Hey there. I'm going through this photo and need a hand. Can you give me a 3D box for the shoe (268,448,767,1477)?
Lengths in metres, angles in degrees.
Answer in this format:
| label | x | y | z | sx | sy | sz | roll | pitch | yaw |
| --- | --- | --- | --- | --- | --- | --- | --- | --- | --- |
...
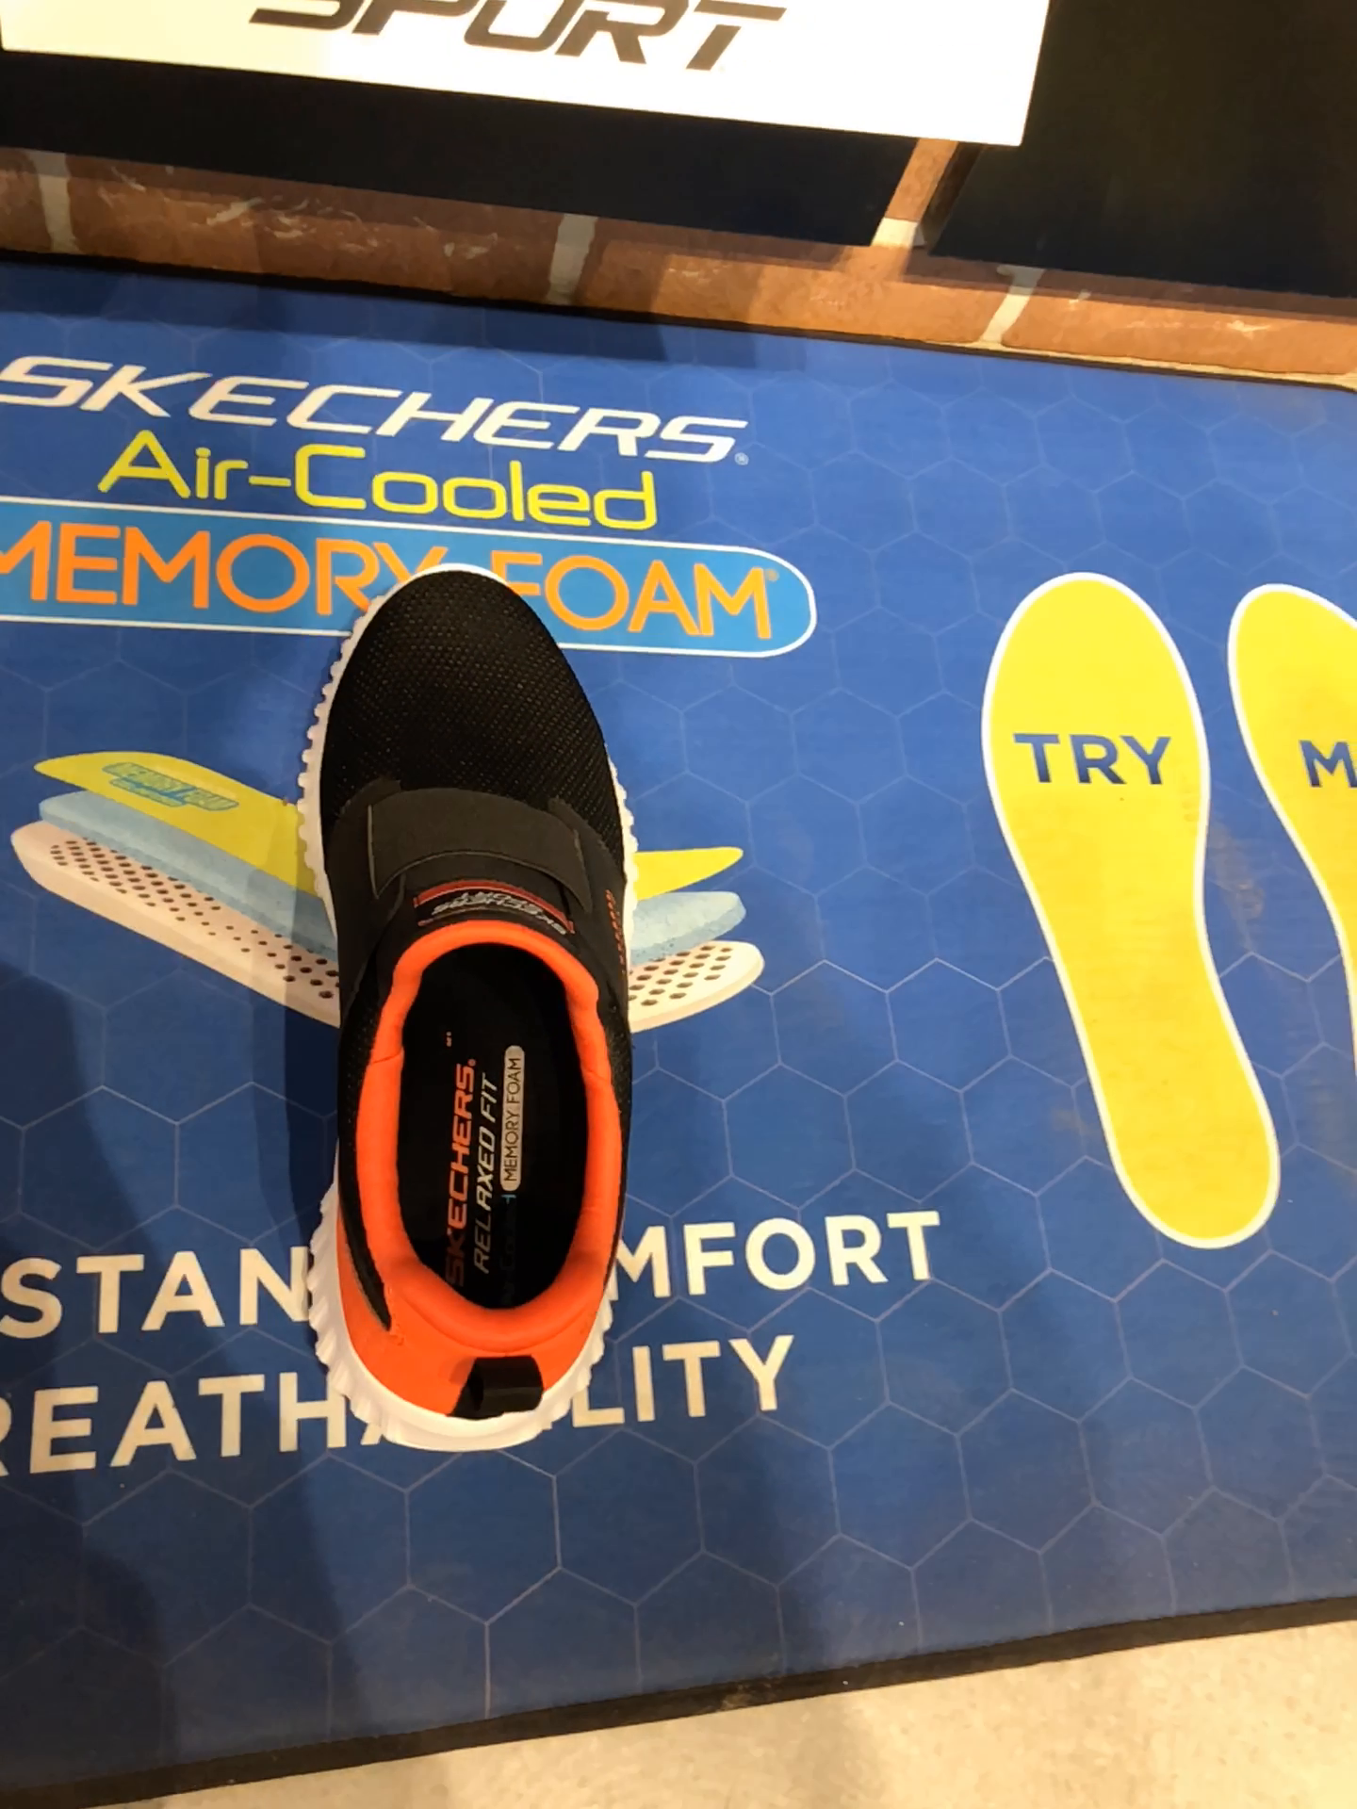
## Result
| label | x | y | z | sx | sy | sz | roll | pitch | yaw |
| --- | --- | --- | --- | --- | --- | --- | --- | --- | --- |
| shoe | -0.059 | 0.023 | 0.459 | 0.116 | 0.136 | 0.277 | 3 | 68 | -14 |
